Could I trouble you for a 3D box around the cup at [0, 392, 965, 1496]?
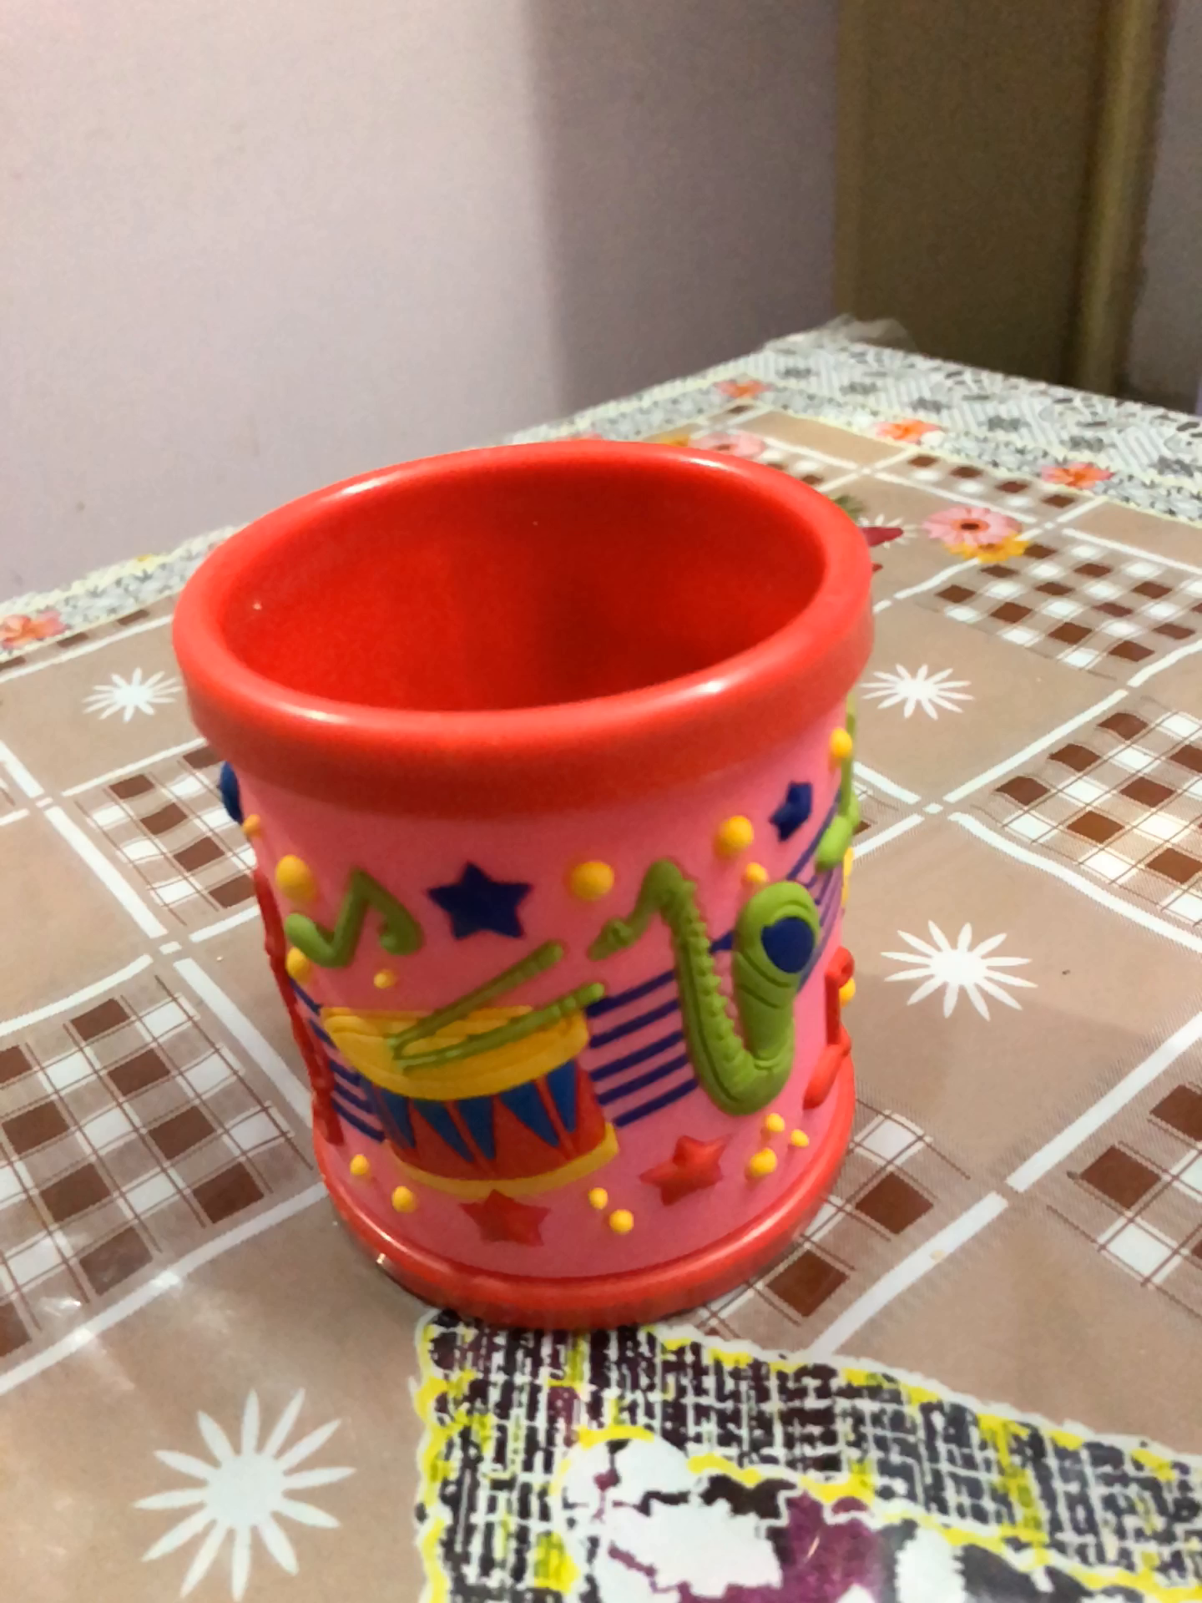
[{"bbox_3d":[-0.011,0.011,0.182,0.080,0.099,0.080,-3,34,2],"label":"cup"}]
